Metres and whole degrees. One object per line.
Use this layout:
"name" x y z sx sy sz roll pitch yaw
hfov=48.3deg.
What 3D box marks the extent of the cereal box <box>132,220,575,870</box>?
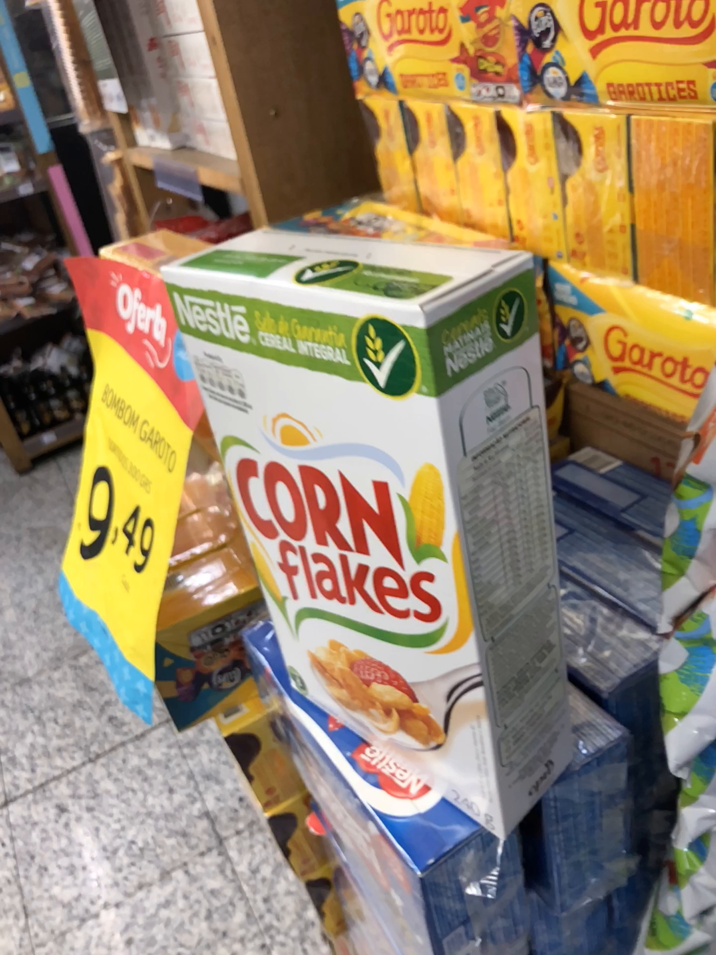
"cereal box" 0.003 0.024 0.356 0.060 0.248 0.171 -31 35 -31
